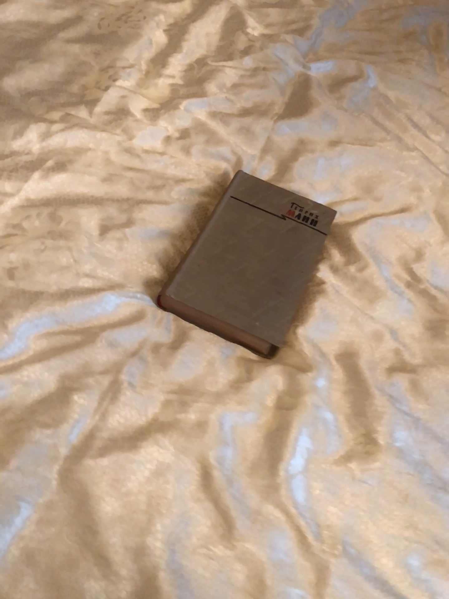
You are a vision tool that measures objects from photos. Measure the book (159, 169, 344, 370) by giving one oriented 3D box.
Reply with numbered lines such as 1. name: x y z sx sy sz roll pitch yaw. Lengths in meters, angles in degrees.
1. book: 0.036 -0.043 0.580 0.142 0.051 0.209 24 59 7
